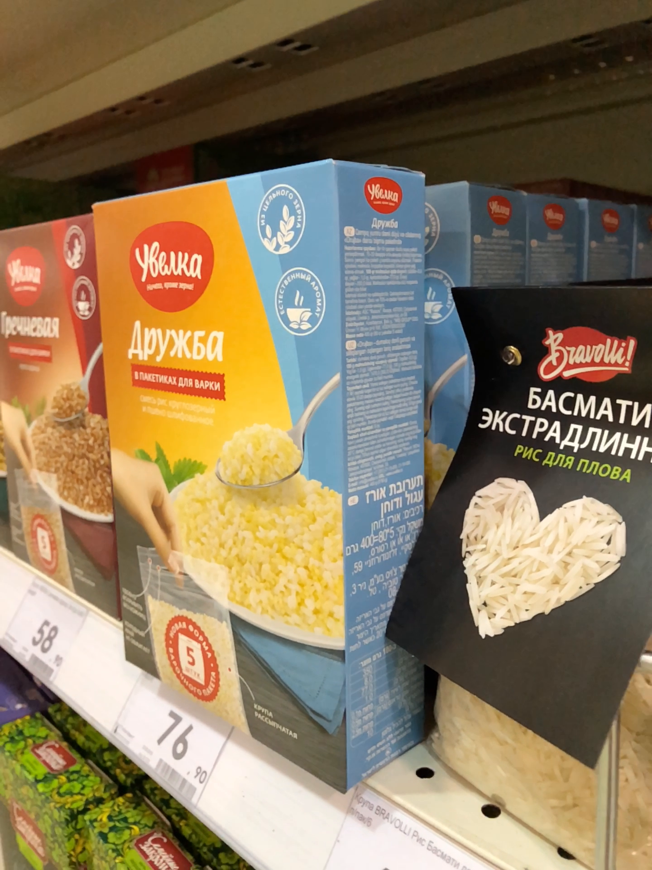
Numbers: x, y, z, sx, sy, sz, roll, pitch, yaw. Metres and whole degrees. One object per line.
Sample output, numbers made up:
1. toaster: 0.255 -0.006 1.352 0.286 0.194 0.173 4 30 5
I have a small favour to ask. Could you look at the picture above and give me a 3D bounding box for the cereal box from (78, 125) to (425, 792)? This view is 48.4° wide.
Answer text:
1. cereal box: -0.030 0.003 0.260 0.130 0.189 0.040 9 14 43
